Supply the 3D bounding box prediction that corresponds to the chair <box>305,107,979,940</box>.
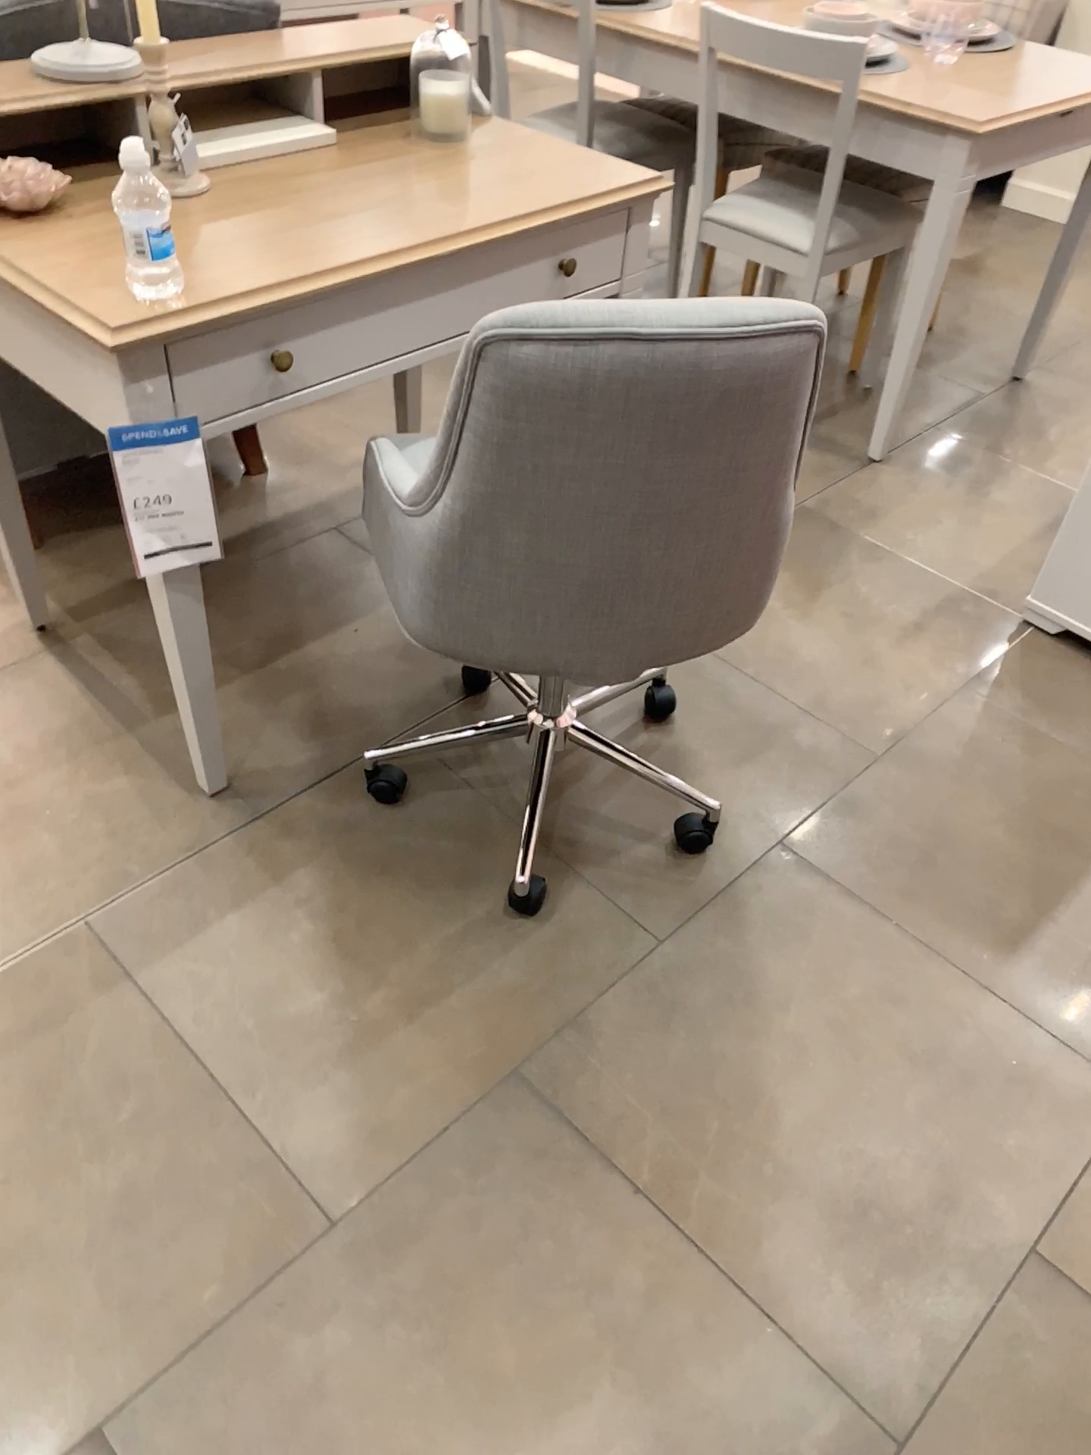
[{"bbox_3d":[0.025,-0.270,1.531,0.624,0.890,0.641,-4,43,-9],"label":"chair"}]
